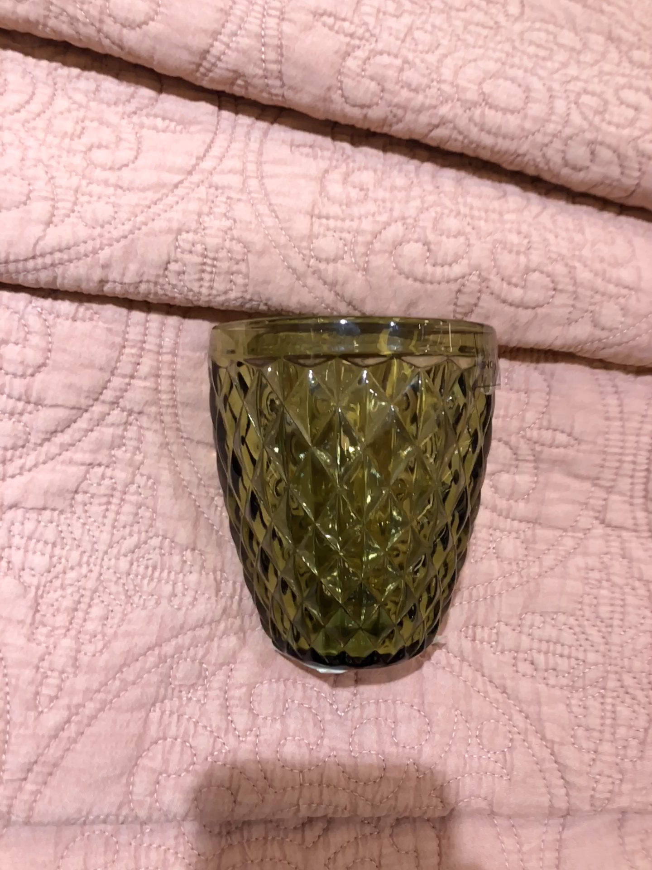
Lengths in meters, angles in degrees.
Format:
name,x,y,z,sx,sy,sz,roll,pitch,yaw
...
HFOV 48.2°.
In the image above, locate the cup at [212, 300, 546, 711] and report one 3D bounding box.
name,x,y,z,sx,sy,sz,roll,pitch,yaw
cup,0.009,0.014,0.217,0.080,0.070,0.100,0,97,-12
